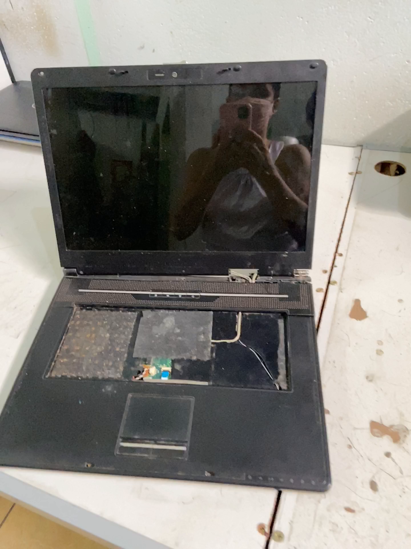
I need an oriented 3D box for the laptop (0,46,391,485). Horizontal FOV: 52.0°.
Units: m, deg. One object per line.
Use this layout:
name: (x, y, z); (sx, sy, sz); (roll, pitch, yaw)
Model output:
laptop: (-0.041, -0.034, 0.453); (0.344, 0.235, 0.381); (1, 47, 8)
